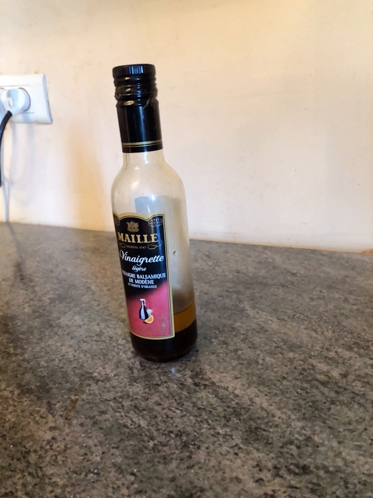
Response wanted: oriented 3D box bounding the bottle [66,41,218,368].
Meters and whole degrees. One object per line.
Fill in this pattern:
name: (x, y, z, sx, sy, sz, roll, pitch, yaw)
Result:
bottle: (-0.025, -0.030, 0.326, 0.070, 0.229, 0.070, -4, 19, 1)
